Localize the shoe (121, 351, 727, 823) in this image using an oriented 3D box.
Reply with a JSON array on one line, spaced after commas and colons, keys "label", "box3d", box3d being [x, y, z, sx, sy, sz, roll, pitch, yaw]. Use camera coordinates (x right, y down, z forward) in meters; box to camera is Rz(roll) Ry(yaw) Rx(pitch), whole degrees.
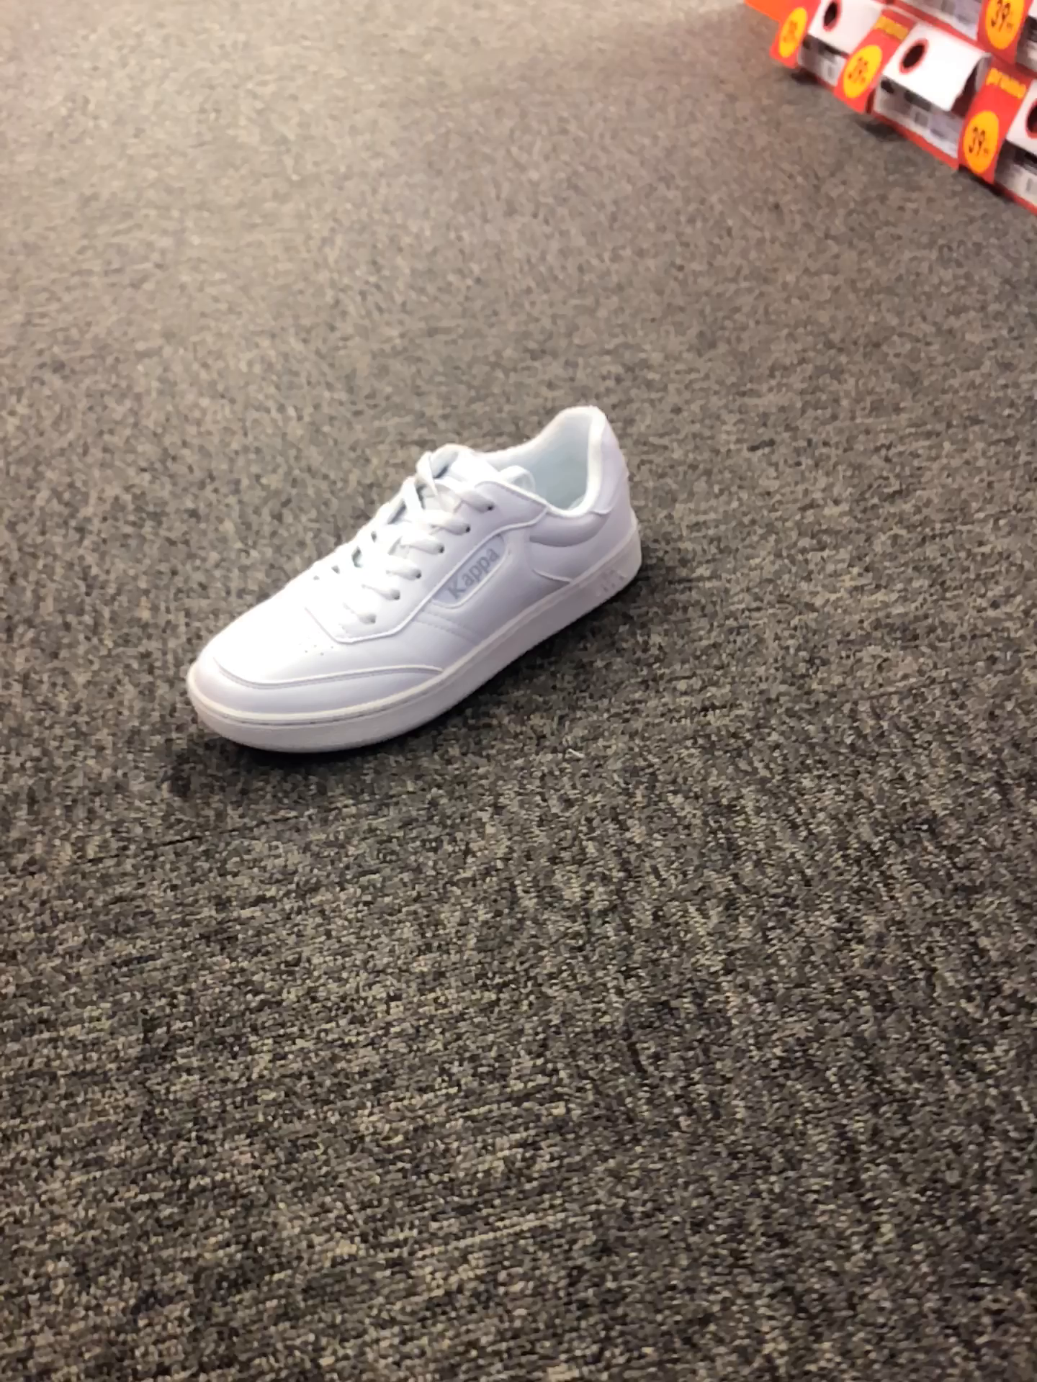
[{"label": "shoe", "box3d": [-0.034, -0.060, 0.545, 0.261, 0.089, 0.100, -29, 49, -24]}]
